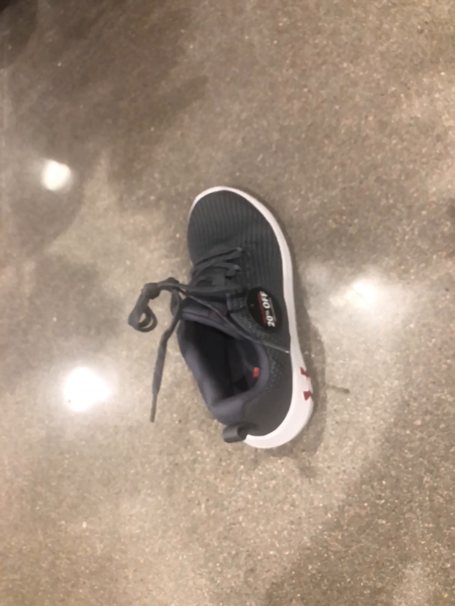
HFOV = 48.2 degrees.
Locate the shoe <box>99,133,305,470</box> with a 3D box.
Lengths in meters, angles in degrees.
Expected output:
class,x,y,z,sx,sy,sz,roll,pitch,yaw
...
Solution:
class,x,y,z,sx,sy,sz,roll,pitch,yaw
shoe,-0.030,0.000,0.460,0.116,0.085,0.265,-21,67,24
